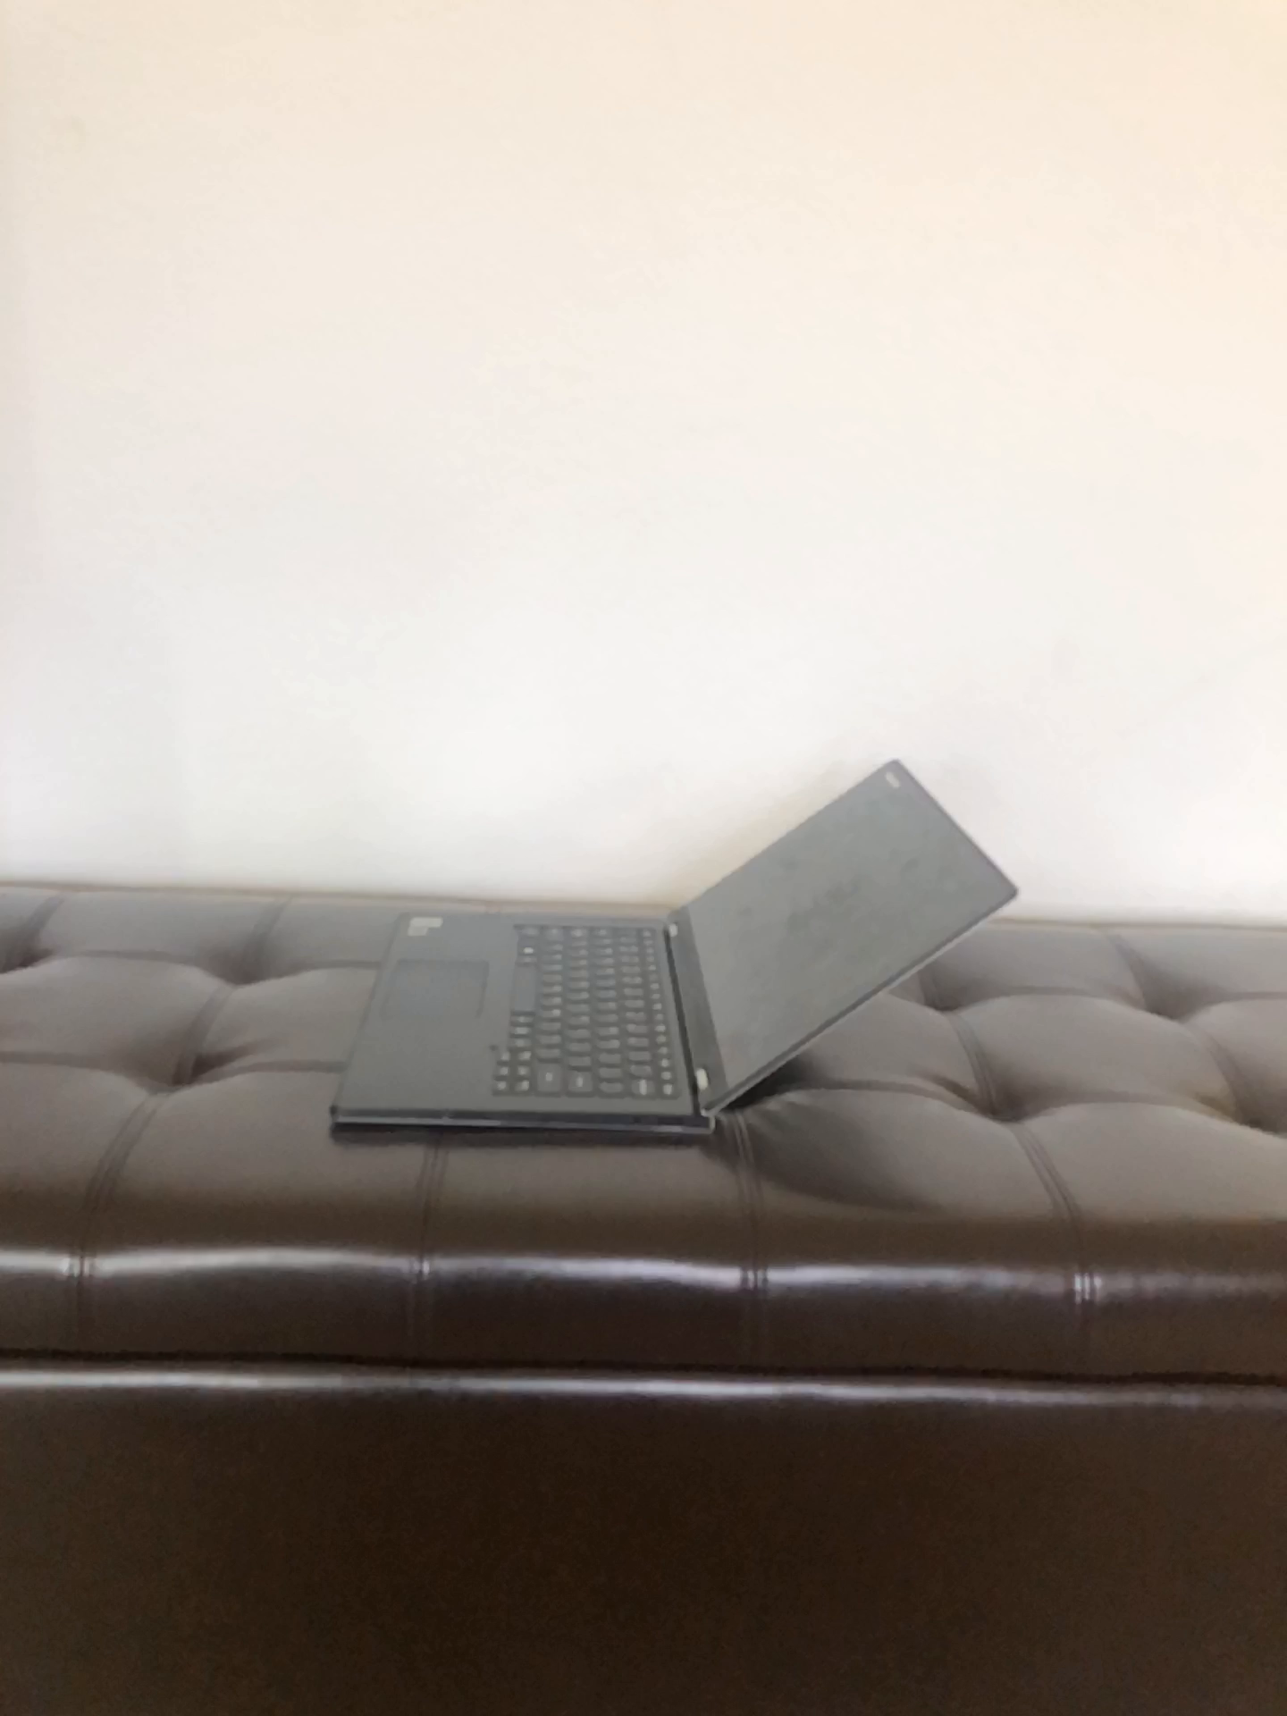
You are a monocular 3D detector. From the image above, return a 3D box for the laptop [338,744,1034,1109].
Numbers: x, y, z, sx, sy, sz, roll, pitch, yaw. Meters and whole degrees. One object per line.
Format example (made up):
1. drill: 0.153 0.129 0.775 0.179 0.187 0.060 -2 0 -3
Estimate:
1. laptop: 0.011 0.024 0.772 0.317 0.115 0.262 0 17 -3
